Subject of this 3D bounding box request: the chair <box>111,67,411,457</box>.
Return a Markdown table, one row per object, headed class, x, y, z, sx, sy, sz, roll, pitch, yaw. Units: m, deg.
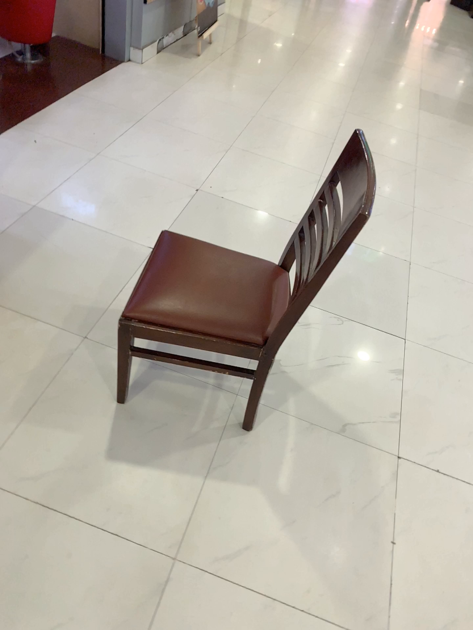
| class | x | y | z | sx | sy | sz | roll | pitch | yaw |
| --- | --- | --- | --- | --- | --- | --- | --- | --- | --- |
| chair | 0.024 | -0.121 | 1.323 | 0.540 | 0.784 | 0.565 | 15 | 43 | 0 |
